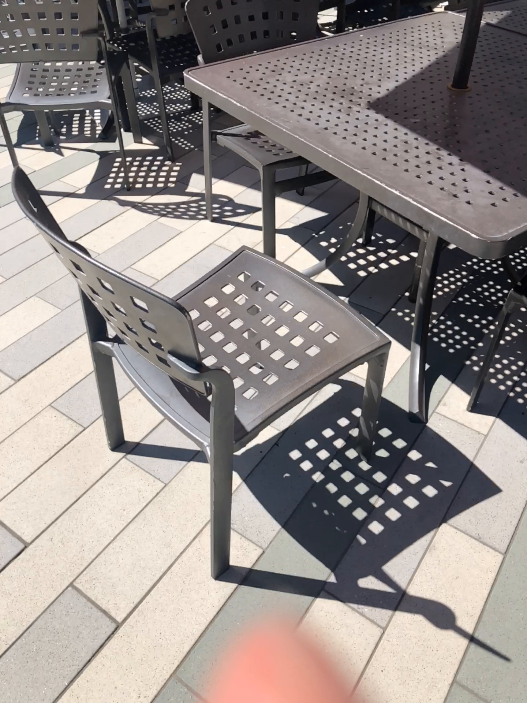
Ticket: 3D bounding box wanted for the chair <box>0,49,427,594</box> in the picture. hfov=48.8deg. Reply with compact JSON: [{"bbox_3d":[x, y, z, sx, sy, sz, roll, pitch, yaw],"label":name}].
[{"bbox_3d":[-0.111,-0.054,1.134,0.531,0.756,0.522,-34,52,-25],"label":"chair"}]
